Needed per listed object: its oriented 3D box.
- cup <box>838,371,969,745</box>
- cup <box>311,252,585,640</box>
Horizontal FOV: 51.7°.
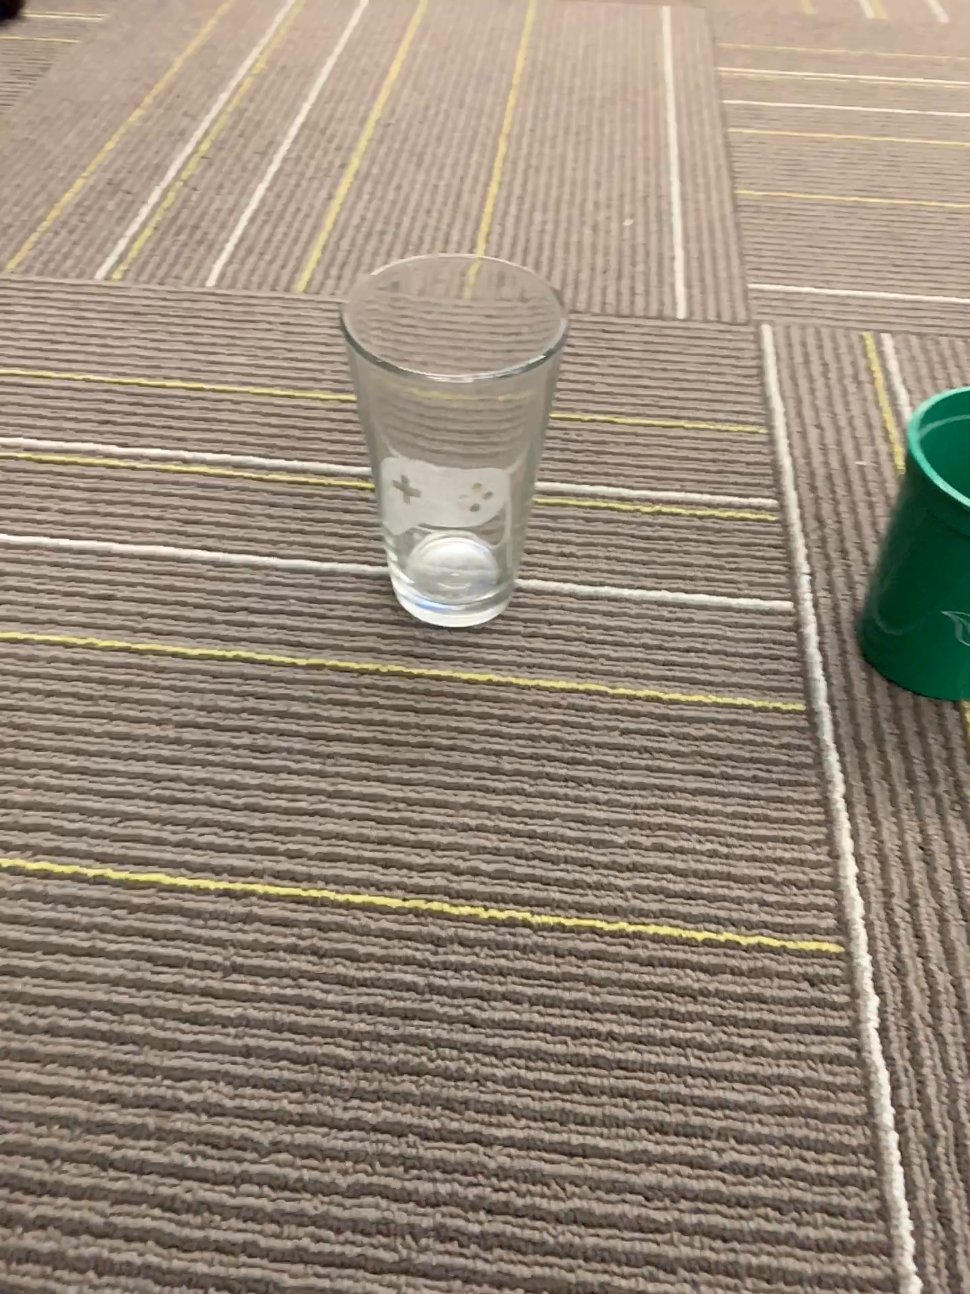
[{"bbox_3d":[0.196,-0.034,0.407,0.070,0.119,0.080,10,49,8],"label":"cup"},{"bbox_3d":[-0.015,-0.078,0.403,0.090,0.119,0.090,0,49,0],"label":"cup"}]
